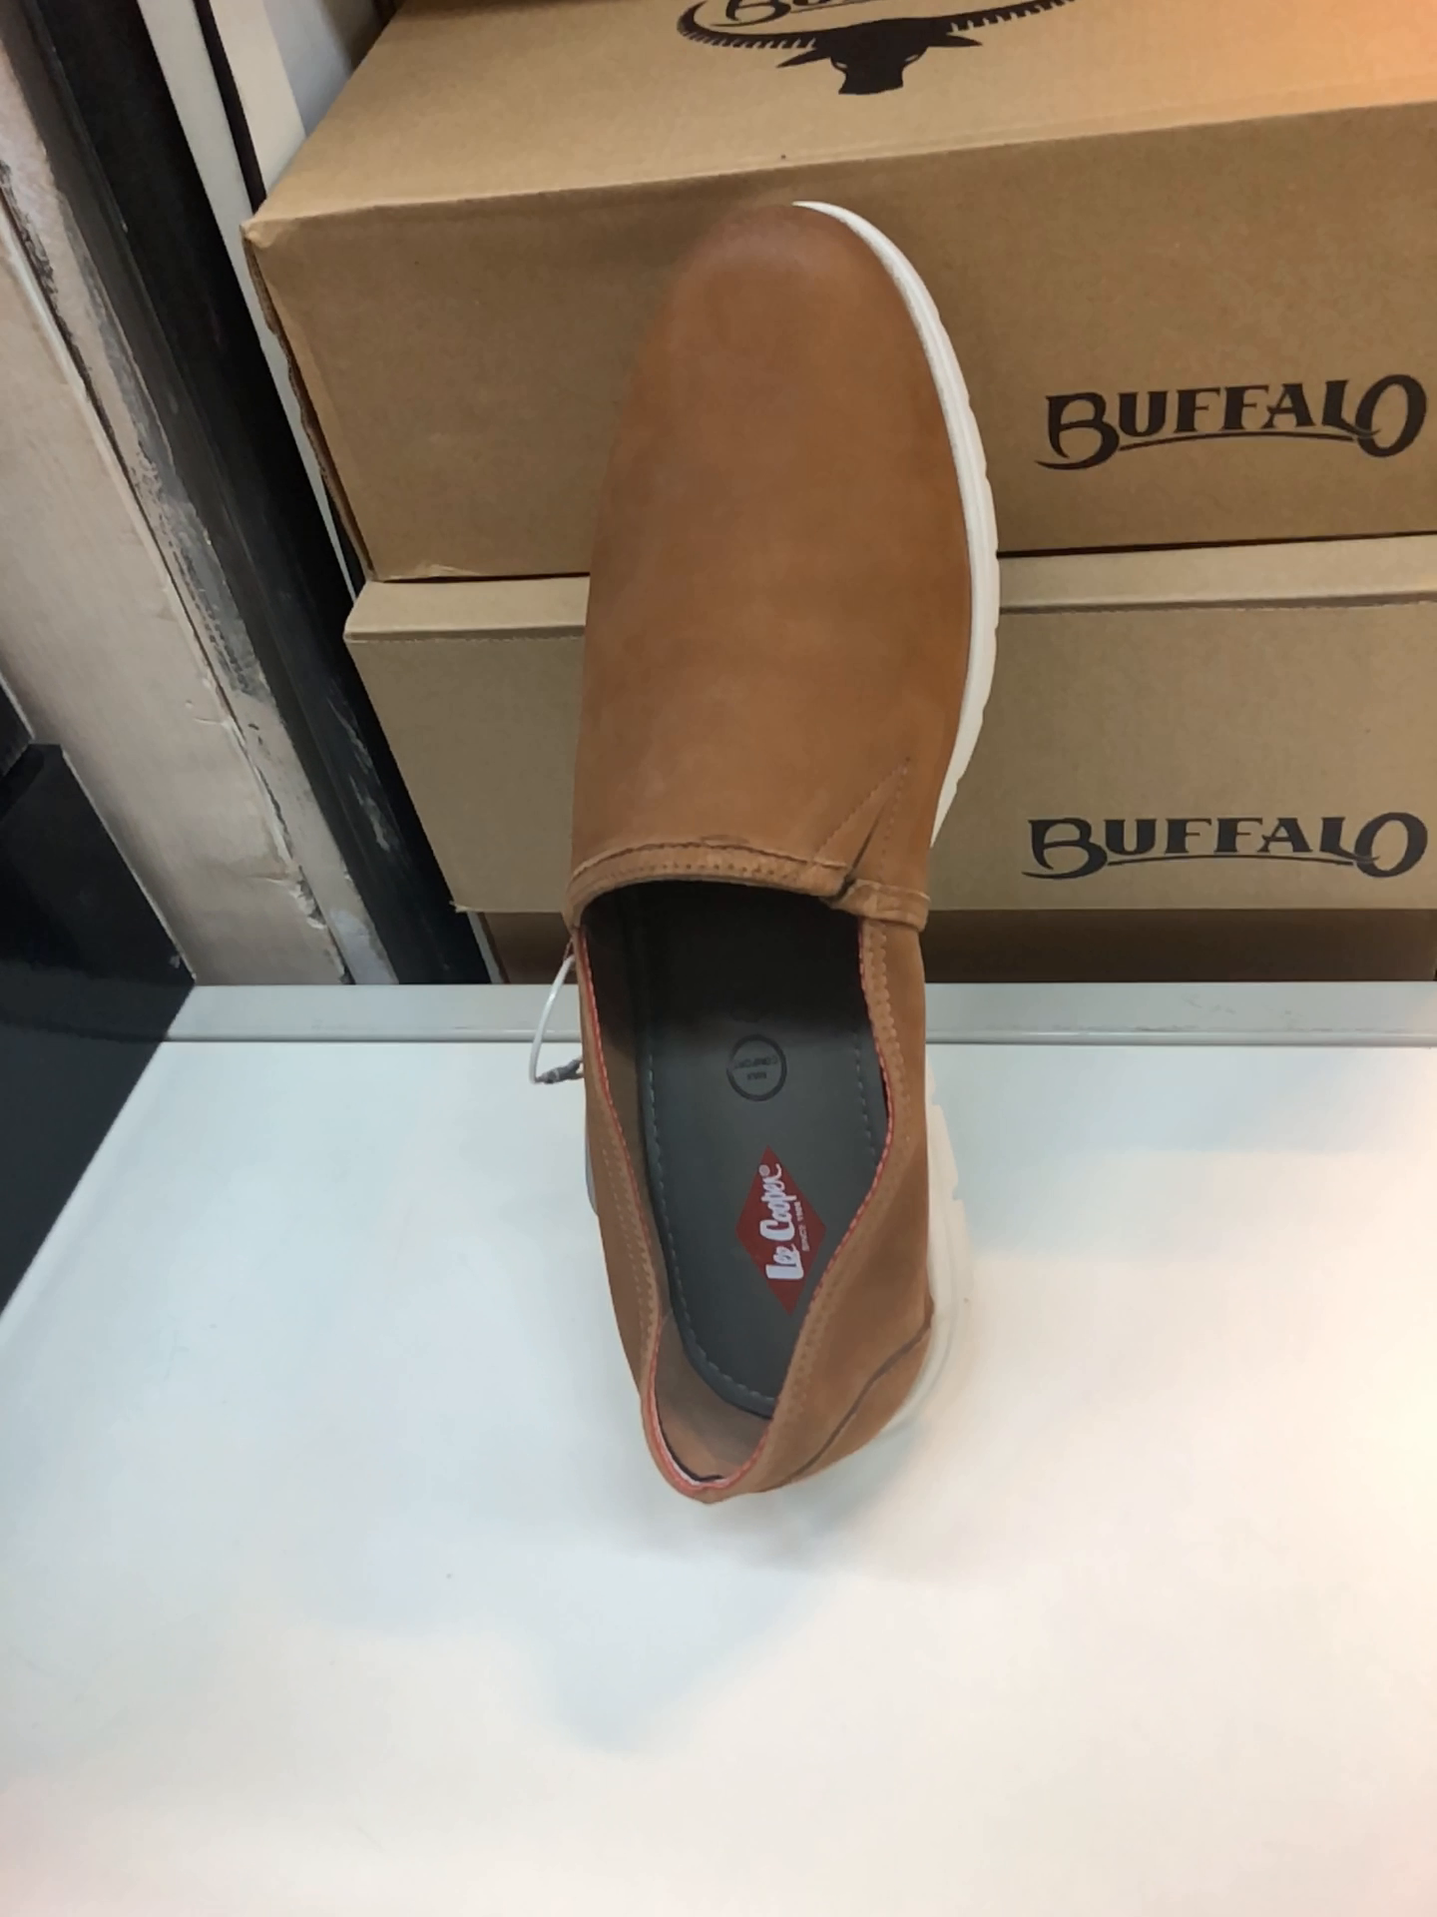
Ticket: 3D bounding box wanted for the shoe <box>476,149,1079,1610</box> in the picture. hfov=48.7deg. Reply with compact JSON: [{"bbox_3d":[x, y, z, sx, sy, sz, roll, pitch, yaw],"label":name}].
[{"bbox_3d":[0.024,-0.019,0.427,0.113,0.311,0.149,2,3,21],"label":"shoe"}]
